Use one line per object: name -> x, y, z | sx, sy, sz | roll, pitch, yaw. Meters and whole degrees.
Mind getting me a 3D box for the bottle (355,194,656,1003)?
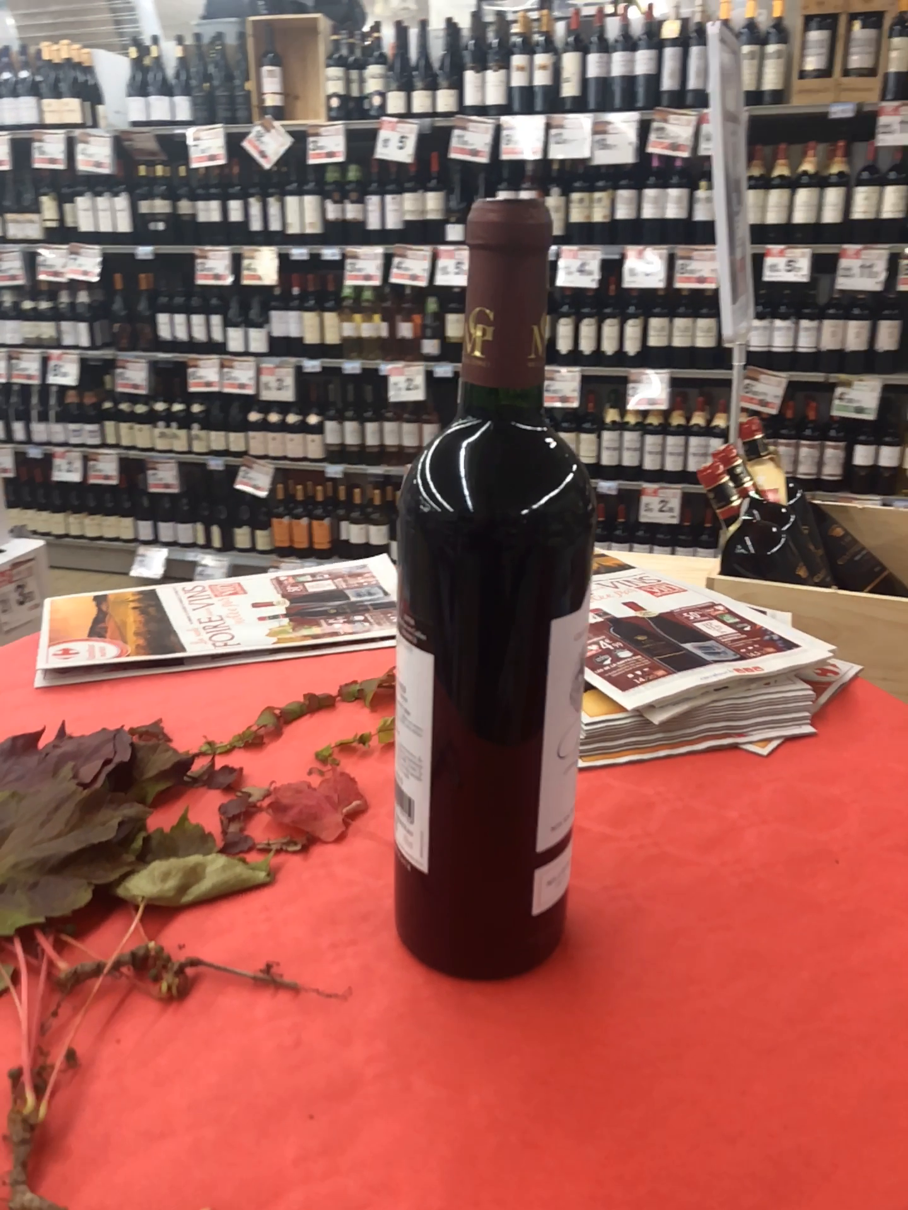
bottle -> 0.018, 0.002, 0.389 | 0.090, 0.299, 0.090 | 0, 20, 0
